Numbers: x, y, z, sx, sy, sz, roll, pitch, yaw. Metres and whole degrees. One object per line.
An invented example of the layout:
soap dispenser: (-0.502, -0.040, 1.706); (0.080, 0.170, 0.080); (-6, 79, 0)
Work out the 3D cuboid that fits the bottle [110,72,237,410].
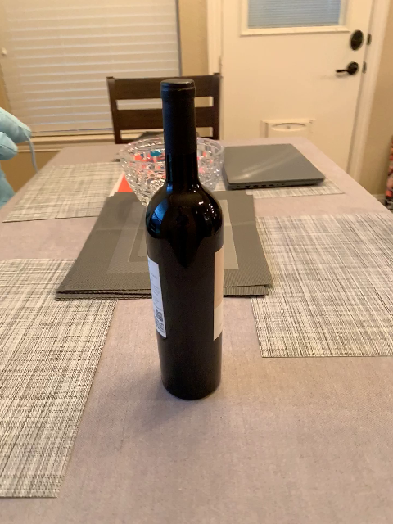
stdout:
bottle: (-0.014, -0.003, 0.403); (0.090, 0.328, 0.084); (-2, 29, 1)
